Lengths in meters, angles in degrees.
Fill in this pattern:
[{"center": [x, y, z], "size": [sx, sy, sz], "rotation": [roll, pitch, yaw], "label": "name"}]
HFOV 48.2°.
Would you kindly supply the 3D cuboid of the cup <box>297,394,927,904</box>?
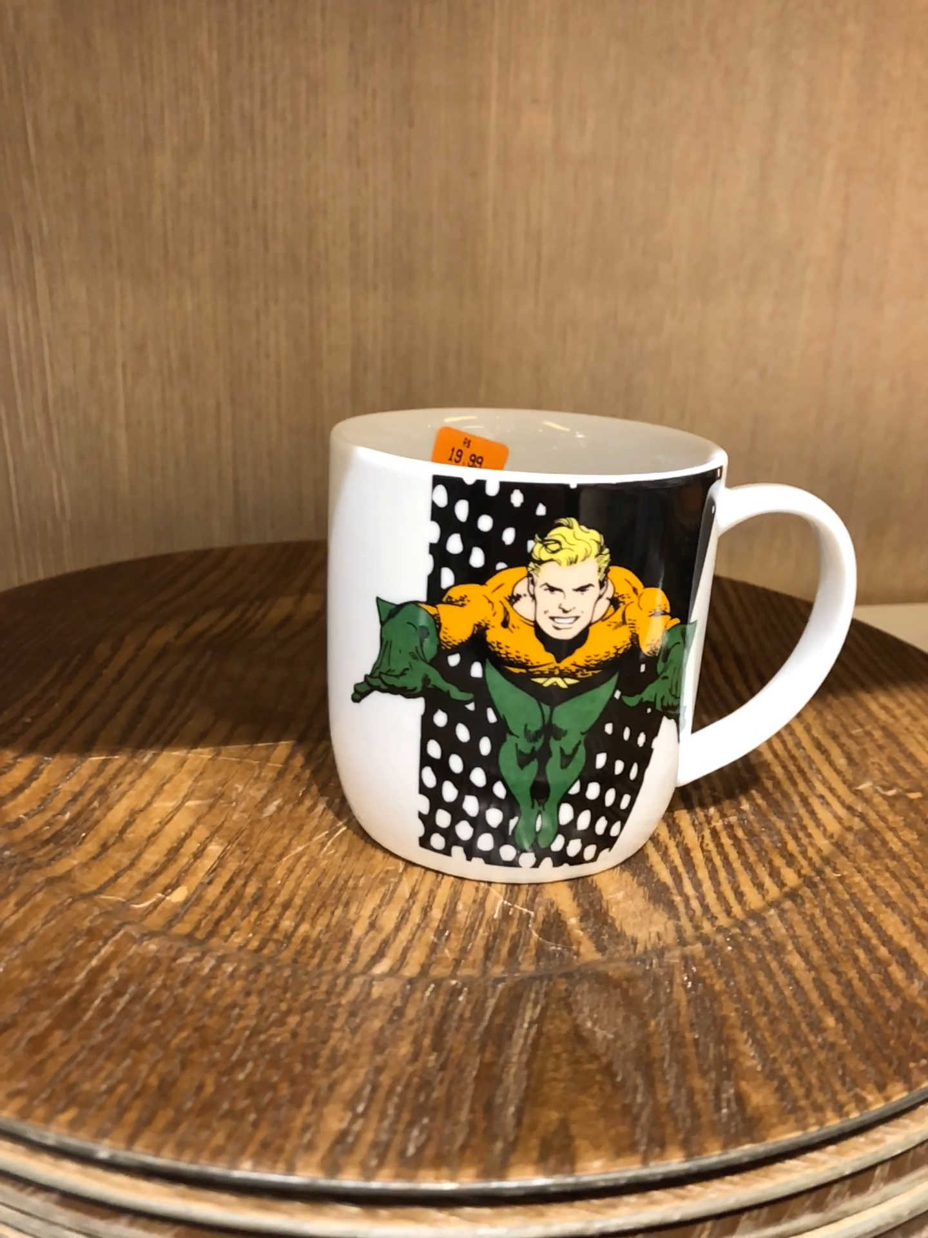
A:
[{"center": [0.024, -0.001, 0.242], "size": [0.120, 0.090, 0.090], "rotation": [-1, 18, -7], "label": "cup"}]
